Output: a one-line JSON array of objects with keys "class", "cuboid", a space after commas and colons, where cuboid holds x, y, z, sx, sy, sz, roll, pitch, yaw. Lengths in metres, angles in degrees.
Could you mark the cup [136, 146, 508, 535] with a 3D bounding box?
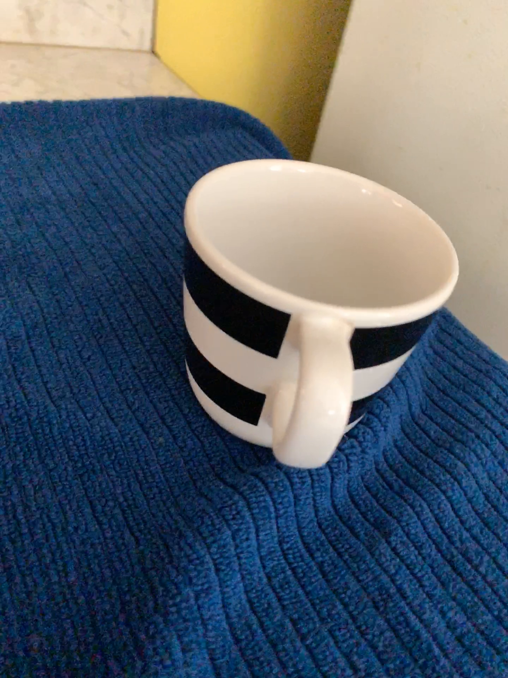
[{"class": "cup", "cuboid": [0.016, -0.008, 0.174, 0.084, 0.057, 0.114, 8, 40, -4]}]
